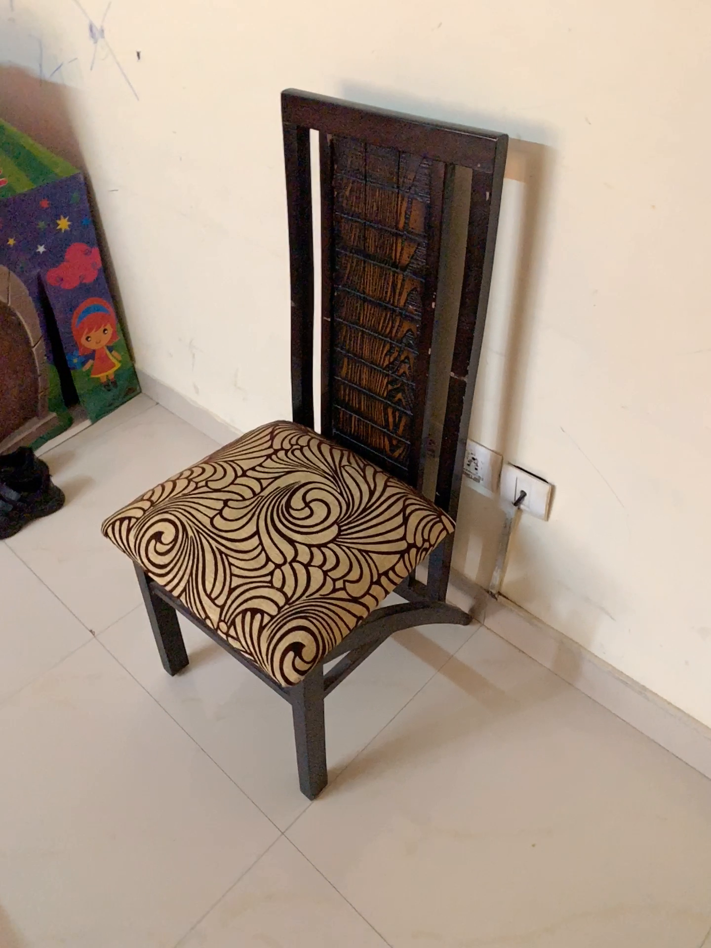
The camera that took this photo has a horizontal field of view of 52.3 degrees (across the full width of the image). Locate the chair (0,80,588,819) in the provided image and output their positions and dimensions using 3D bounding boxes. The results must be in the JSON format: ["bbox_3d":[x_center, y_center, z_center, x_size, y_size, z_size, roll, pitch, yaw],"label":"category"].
[{"bbox_3d":[-0.084,-0.038,1.193,0.532,0.922,0.583,29,49,30],"label":"chair"}]
